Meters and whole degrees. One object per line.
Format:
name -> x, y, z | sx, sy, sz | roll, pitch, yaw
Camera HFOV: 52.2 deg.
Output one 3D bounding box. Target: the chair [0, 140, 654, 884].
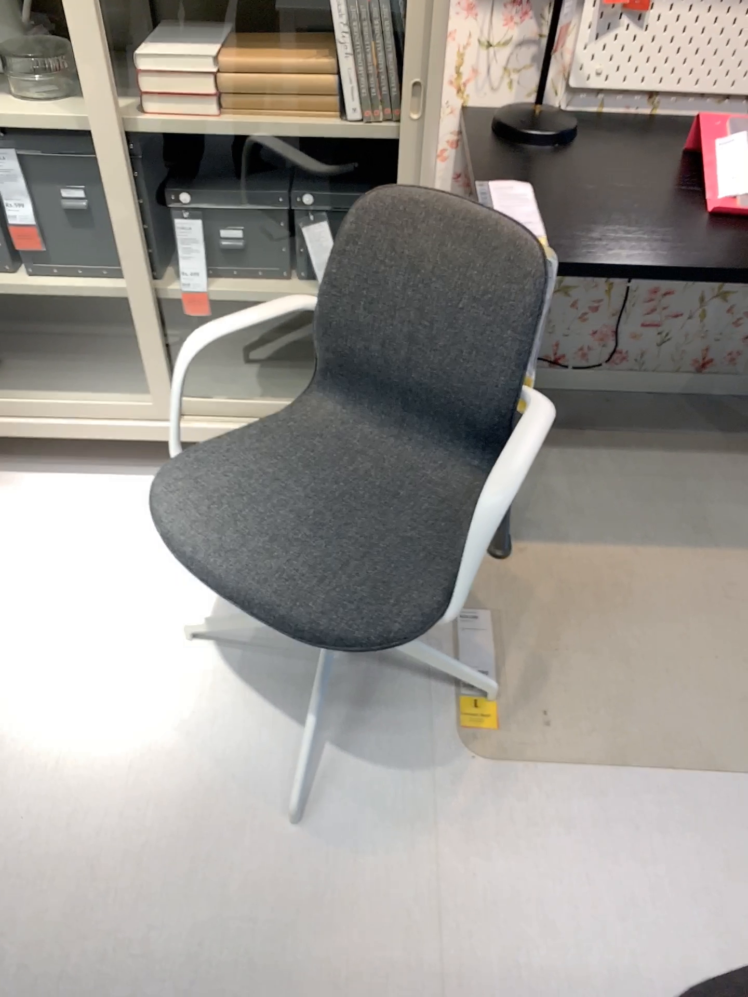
chair -> -0.076, 0.018, 1.251 | 0.621, 0.837, 0.641 | 28, 51, 22
